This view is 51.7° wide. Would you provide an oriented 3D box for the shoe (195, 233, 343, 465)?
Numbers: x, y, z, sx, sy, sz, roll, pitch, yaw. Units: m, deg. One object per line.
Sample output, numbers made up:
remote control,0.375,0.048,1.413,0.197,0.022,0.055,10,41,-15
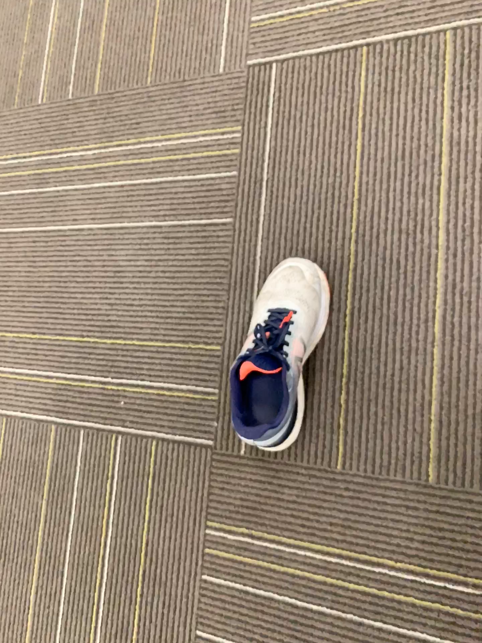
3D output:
shoe,0.042,0.034,0.698,0.130,0.080,0.290,11,86,24
